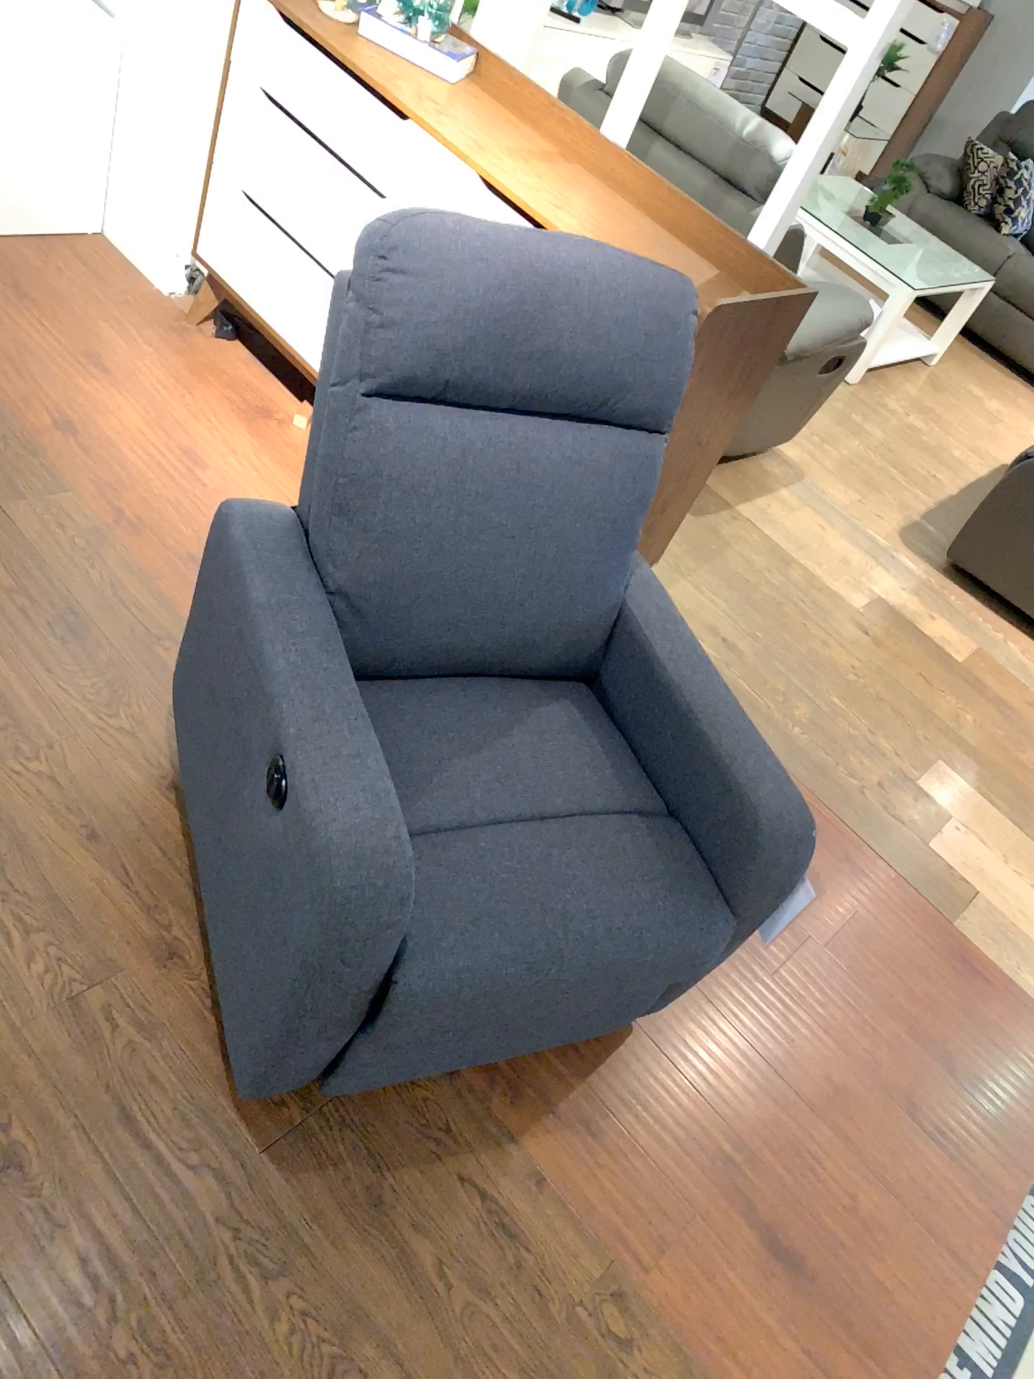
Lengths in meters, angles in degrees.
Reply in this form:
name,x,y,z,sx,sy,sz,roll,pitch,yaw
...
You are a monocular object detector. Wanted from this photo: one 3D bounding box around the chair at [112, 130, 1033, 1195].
name,x,y,z,sx,sy,sz,roll,pitch,yaw
chair,0.017,-0.015,1.526,0.932,0.966,0.882,-2,49,-31
